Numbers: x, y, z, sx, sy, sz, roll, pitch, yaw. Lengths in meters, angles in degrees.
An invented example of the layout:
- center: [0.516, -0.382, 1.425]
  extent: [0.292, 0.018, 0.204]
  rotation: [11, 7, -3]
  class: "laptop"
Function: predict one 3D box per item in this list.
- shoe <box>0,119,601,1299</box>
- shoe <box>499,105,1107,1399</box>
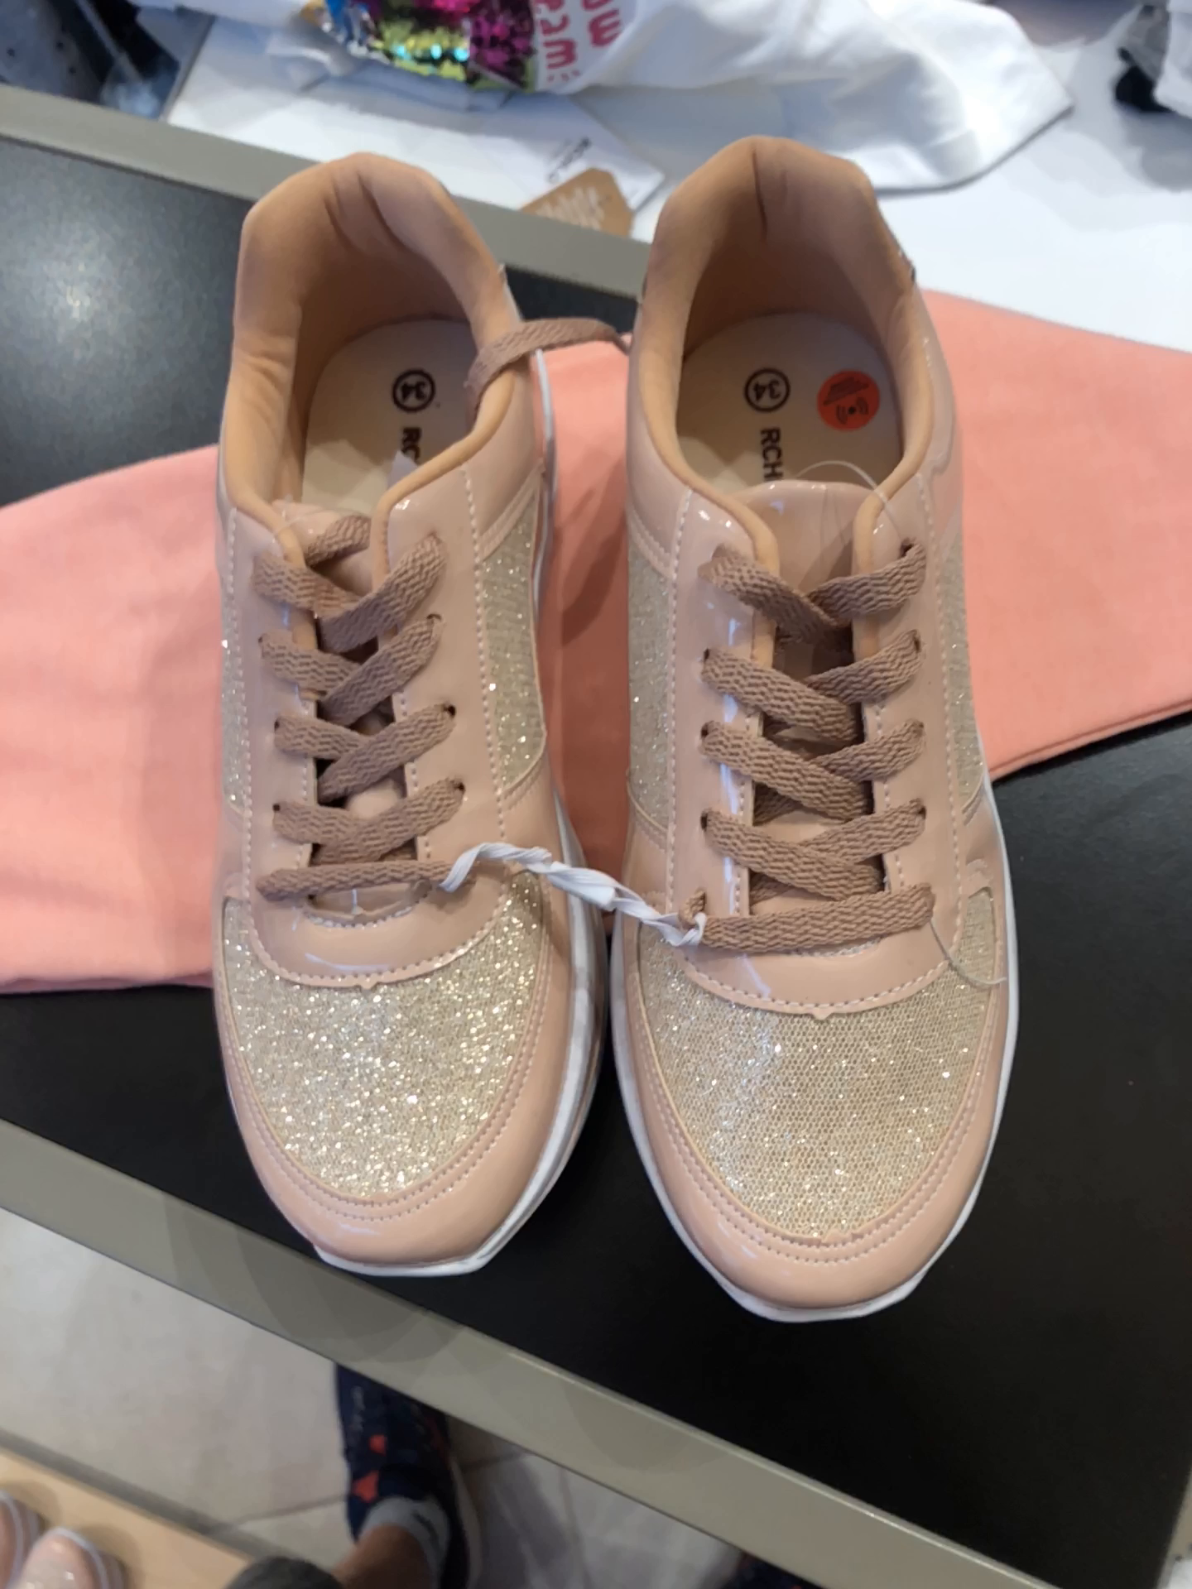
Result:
- center: [-0.052, -0.013, 0.293]
  extent: [0.090, 0.100, 0.220]
  rotation: [-3, 76, 8]
  class: "shoe"
- center: [0.035, -0.007, 0.268]
  extent: [0.090, 0.090, 0.220]
  rotation: [-3, 76, 8]
  class: "shoe"
